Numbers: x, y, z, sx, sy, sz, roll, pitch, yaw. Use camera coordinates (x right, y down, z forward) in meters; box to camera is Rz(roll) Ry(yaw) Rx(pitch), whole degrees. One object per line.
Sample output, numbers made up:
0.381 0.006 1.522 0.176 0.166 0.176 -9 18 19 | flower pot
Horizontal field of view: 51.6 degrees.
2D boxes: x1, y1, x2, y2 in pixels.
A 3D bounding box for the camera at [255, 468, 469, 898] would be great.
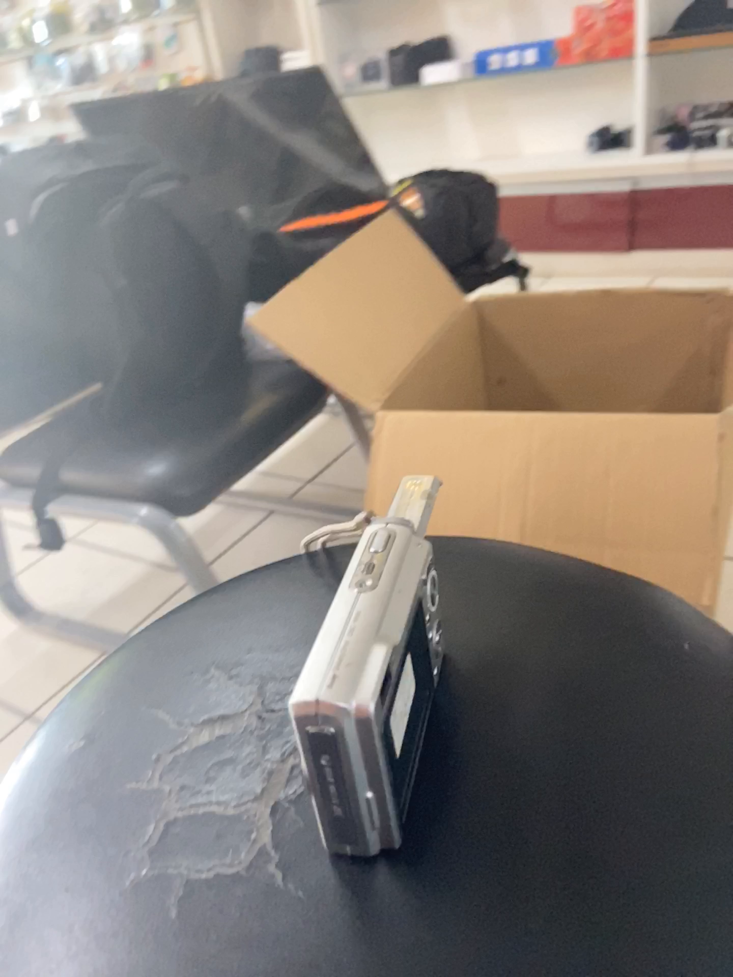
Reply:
0.008 0.050 0.246 0.030 0.053 0.137 -1 30 16 | camera
